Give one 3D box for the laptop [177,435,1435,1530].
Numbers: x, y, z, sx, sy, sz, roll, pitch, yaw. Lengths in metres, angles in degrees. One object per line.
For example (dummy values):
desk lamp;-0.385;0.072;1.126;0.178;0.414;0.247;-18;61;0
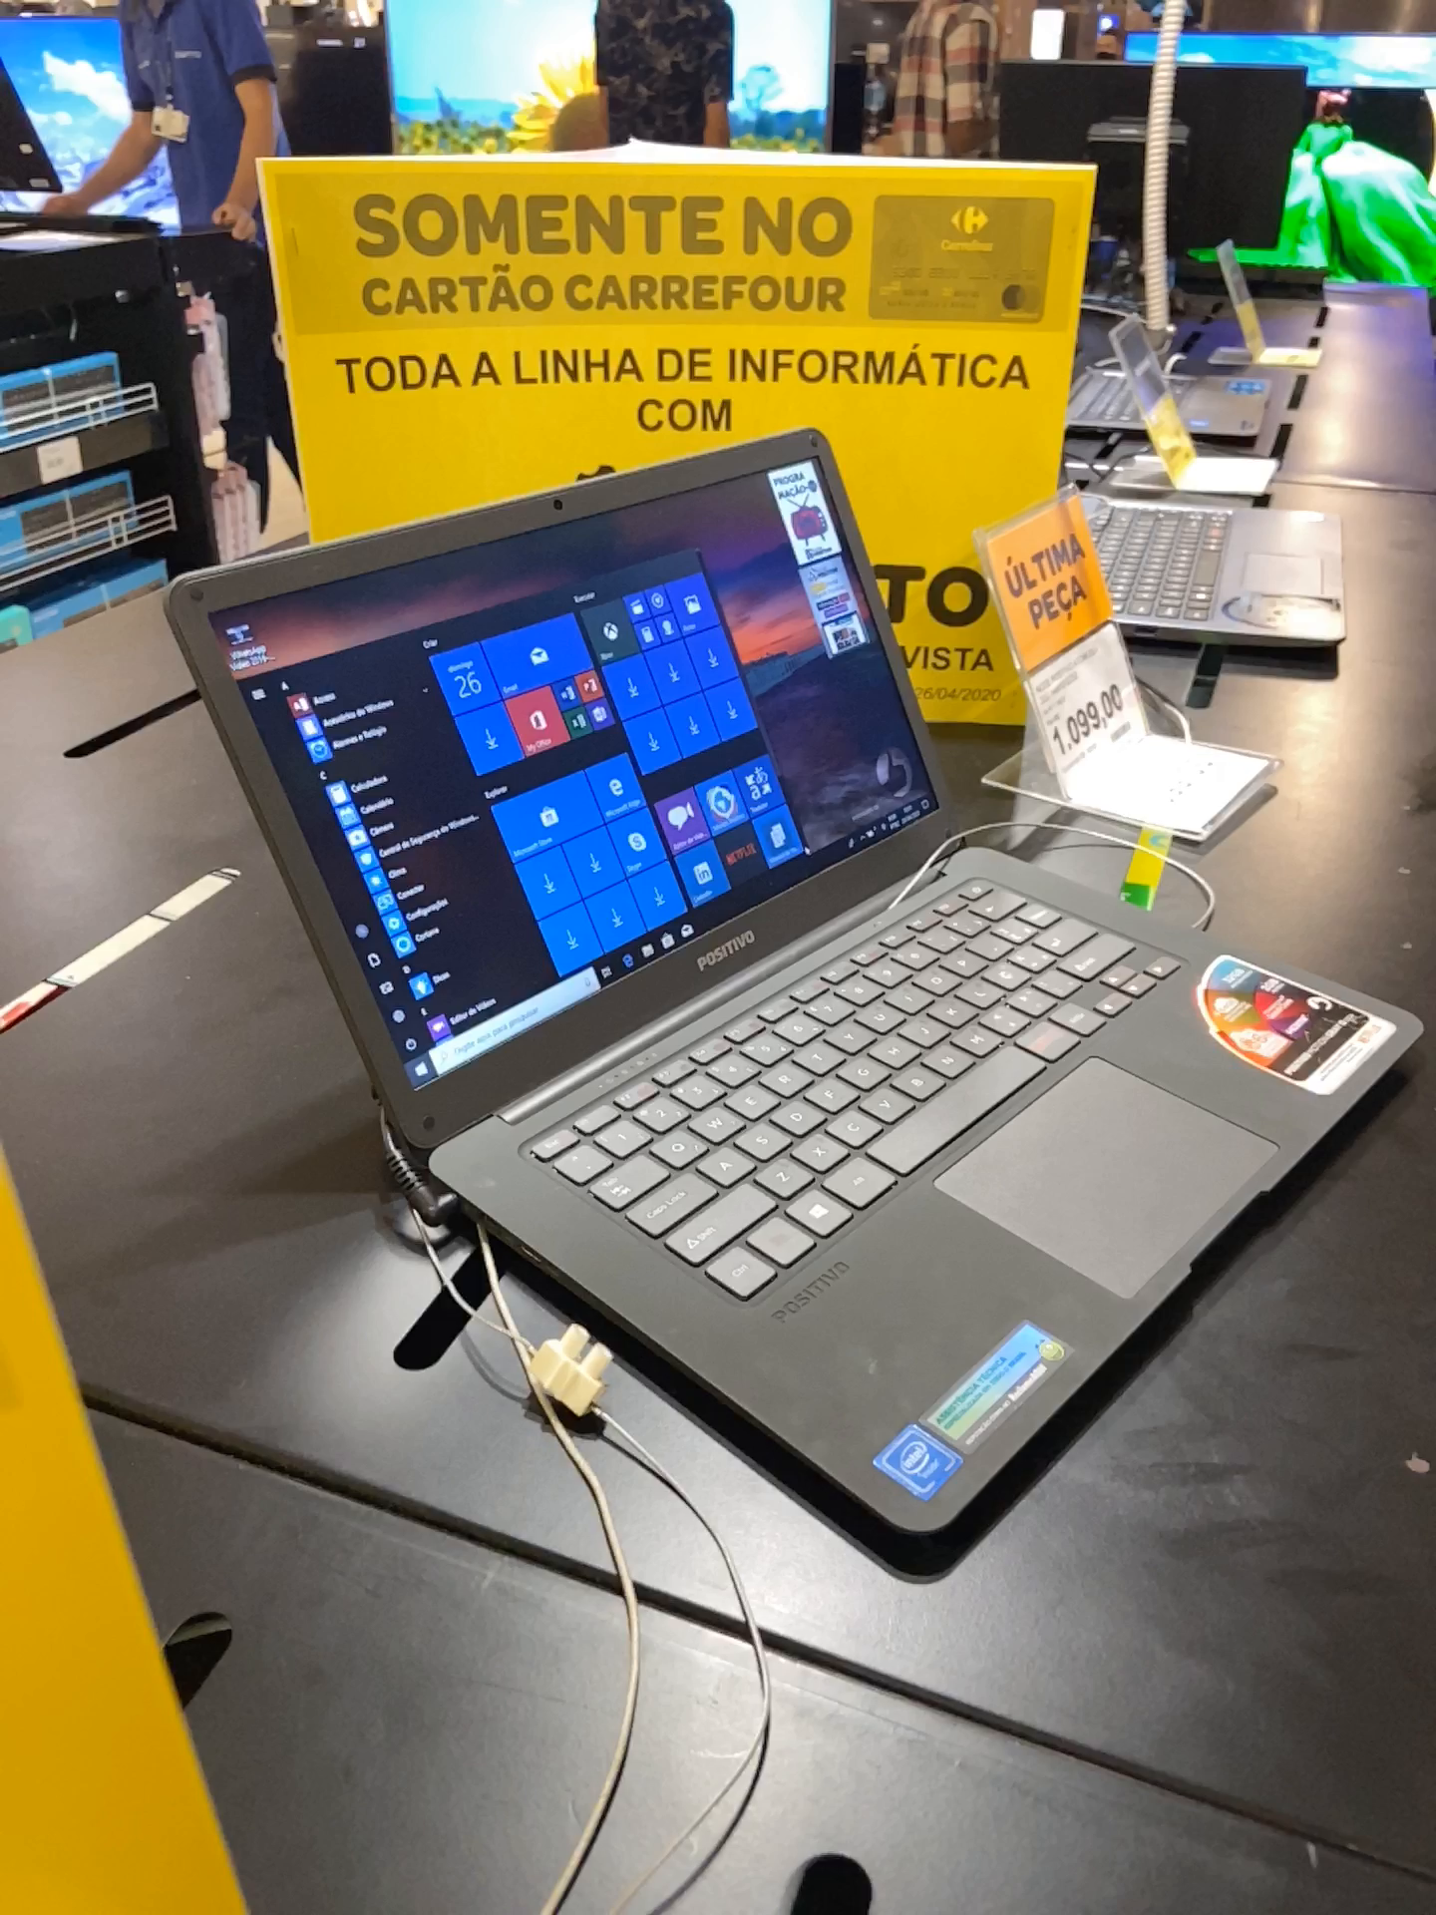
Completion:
laptop;0.045;-0.043;0.487;0.292;0.159;0.297;27;40;36
